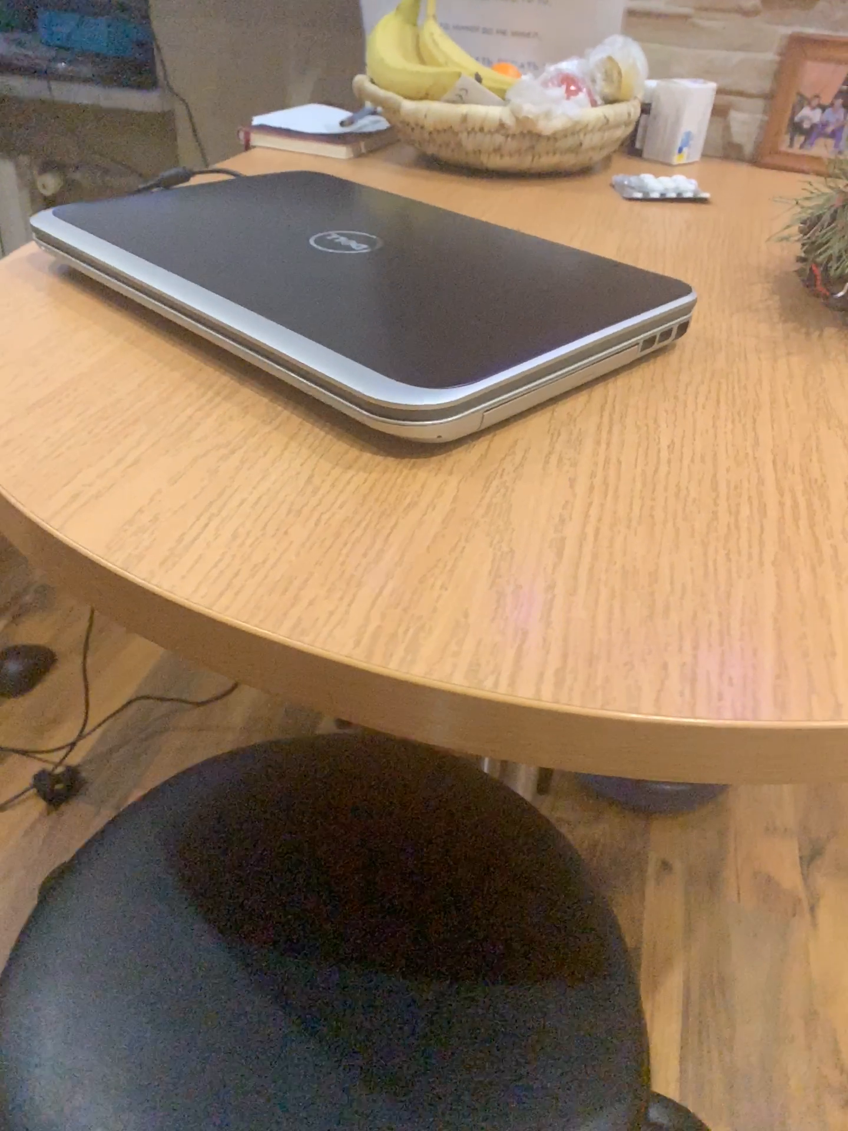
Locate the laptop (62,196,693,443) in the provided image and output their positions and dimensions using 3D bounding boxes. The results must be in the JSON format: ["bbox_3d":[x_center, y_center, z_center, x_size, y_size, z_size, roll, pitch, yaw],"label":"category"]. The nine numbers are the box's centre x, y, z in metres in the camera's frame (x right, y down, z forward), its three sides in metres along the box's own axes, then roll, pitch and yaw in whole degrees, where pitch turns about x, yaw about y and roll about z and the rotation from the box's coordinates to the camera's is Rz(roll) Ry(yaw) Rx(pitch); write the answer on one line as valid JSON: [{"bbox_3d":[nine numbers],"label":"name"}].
[{"bbox_3d":[-0.044,-0.177,0.547,0.225,0.004,0.350,-28,45,-33],"label":"laptop"}]
